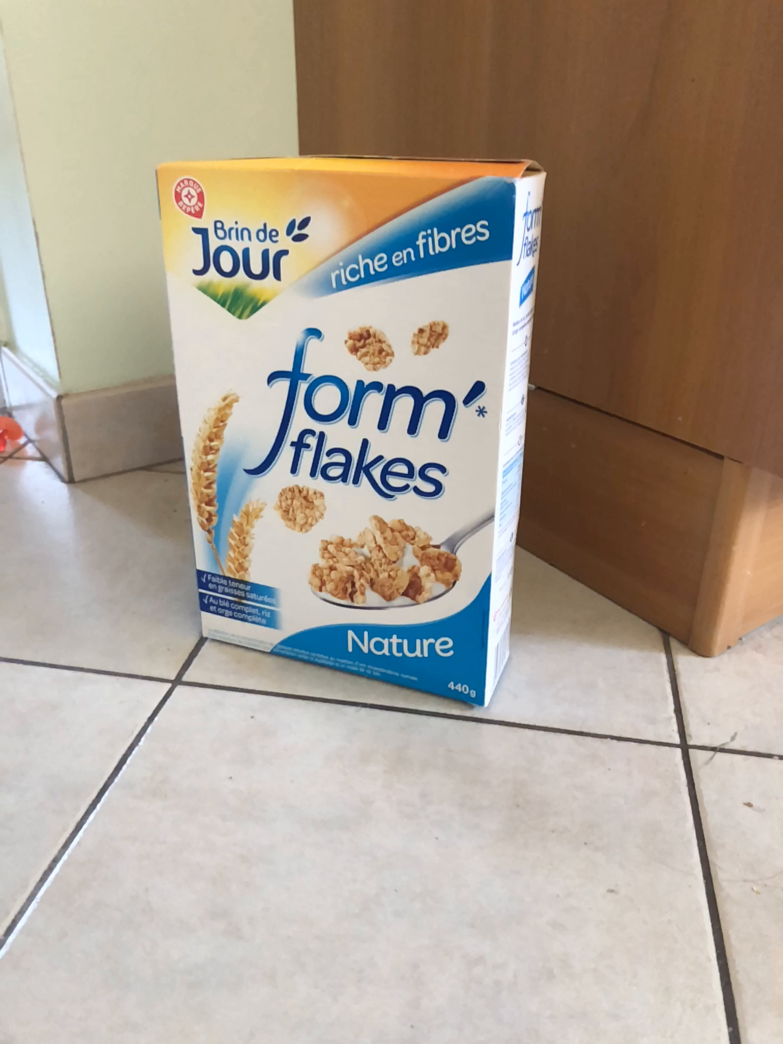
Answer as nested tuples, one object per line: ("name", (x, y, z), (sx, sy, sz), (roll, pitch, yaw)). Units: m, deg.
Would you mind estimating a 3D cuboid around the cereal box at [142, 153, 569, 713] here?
("cereal box", (-0.022, -0.051, 0.484), (0.200, 0.278, 0.070), (10, 26, 19))
